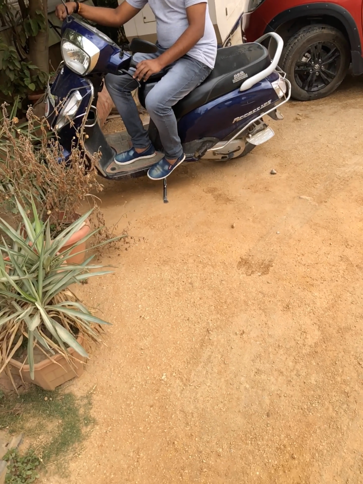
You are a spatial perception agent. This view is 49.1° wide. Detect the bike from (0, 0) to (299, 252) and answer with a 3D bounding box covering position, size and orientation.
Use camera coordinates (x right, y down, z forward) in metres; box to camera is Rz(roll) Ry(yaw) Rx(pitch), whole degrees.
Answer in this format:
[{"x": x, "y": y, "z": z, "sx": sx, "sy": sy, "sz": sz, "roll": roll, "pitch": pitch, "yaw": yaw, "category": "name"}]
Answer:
[{"x": -0.185, "y": -0.815, "z": 2.426, "sx": 1.623, "sy": 1.222, "sz": 0.590, "roll": -19, "pitch": 36, "yaw": -12, "category": "bike"}]
